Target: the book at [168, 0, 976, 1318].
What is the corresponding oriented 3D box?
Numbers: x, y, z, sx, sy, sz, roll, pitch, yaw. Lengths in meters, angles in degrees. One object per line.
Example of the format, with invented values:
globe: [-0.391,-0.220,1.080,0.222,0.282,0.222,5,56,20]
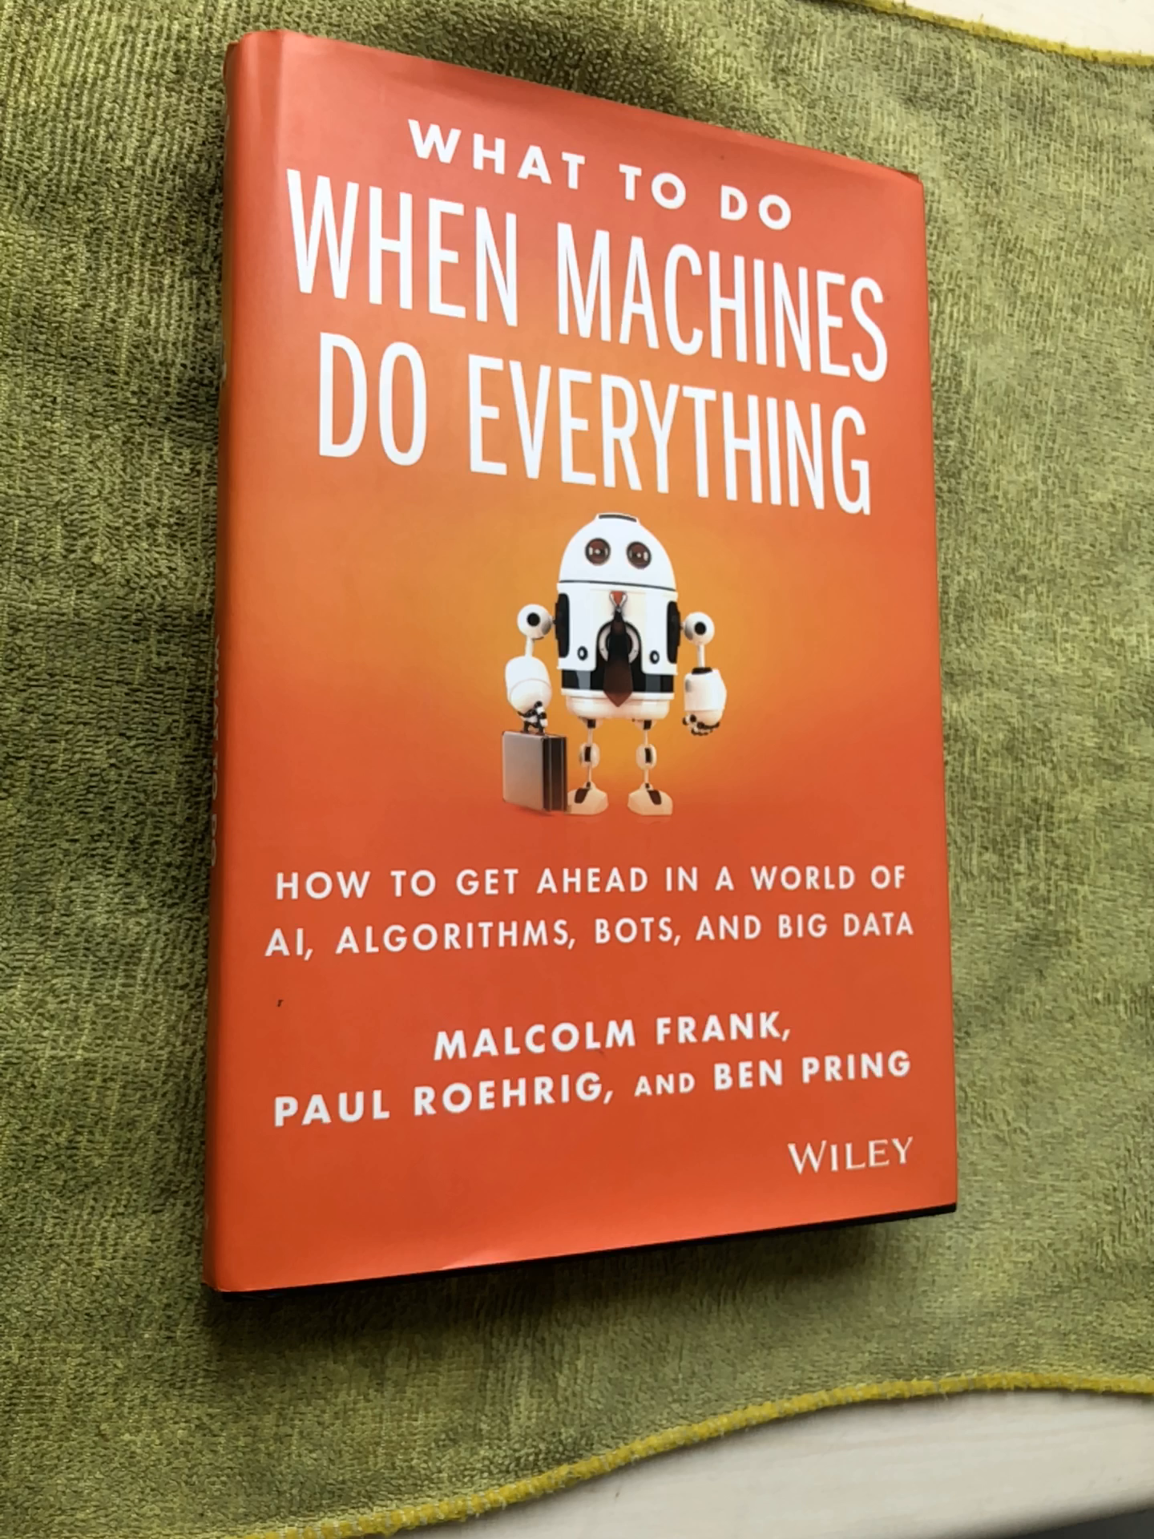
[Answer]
book: [0.002,-0.026,0.271,0.160,0.040,0.240,1,84,-23]
